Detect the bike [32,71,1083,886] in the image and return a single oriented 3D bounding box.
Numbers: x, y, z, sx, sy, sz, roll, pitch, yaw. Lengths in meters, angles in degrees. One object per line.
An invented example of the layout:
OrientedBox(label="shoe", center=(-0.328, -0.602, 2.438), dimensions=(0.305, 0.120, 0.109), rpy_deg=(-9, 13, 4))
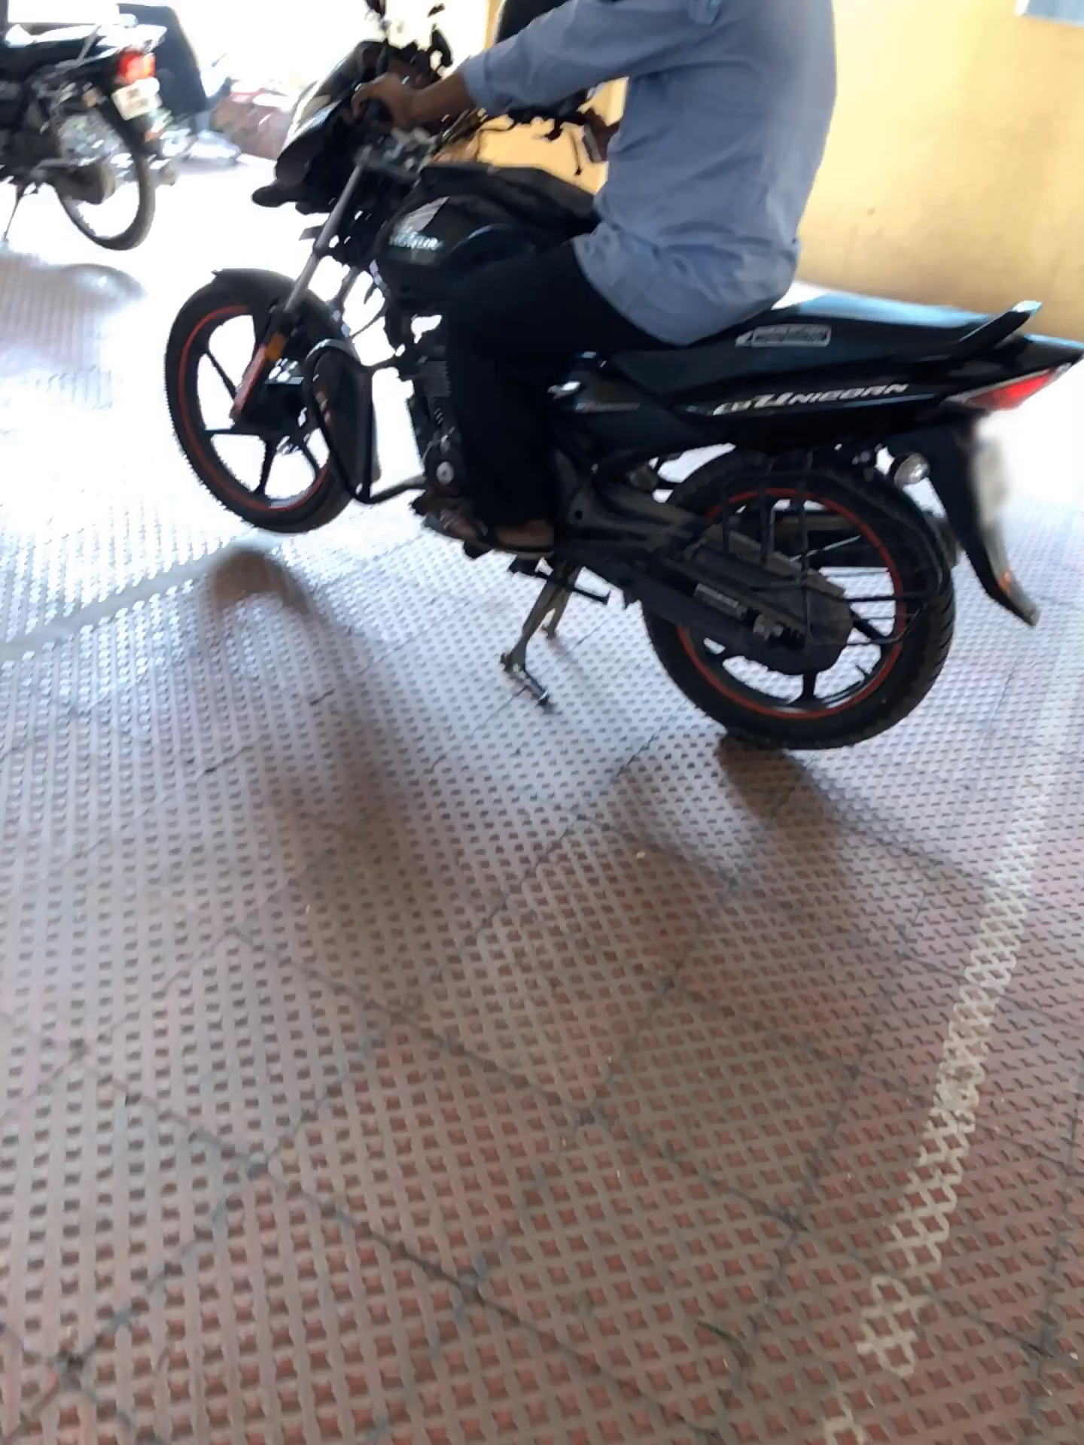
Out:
OrientedBox(label="bike", center=(-0.037, -0.633, 2.451), dimensions=(1.883, 1.009, 0.791), rpy_deg=(22, 33, 22))
